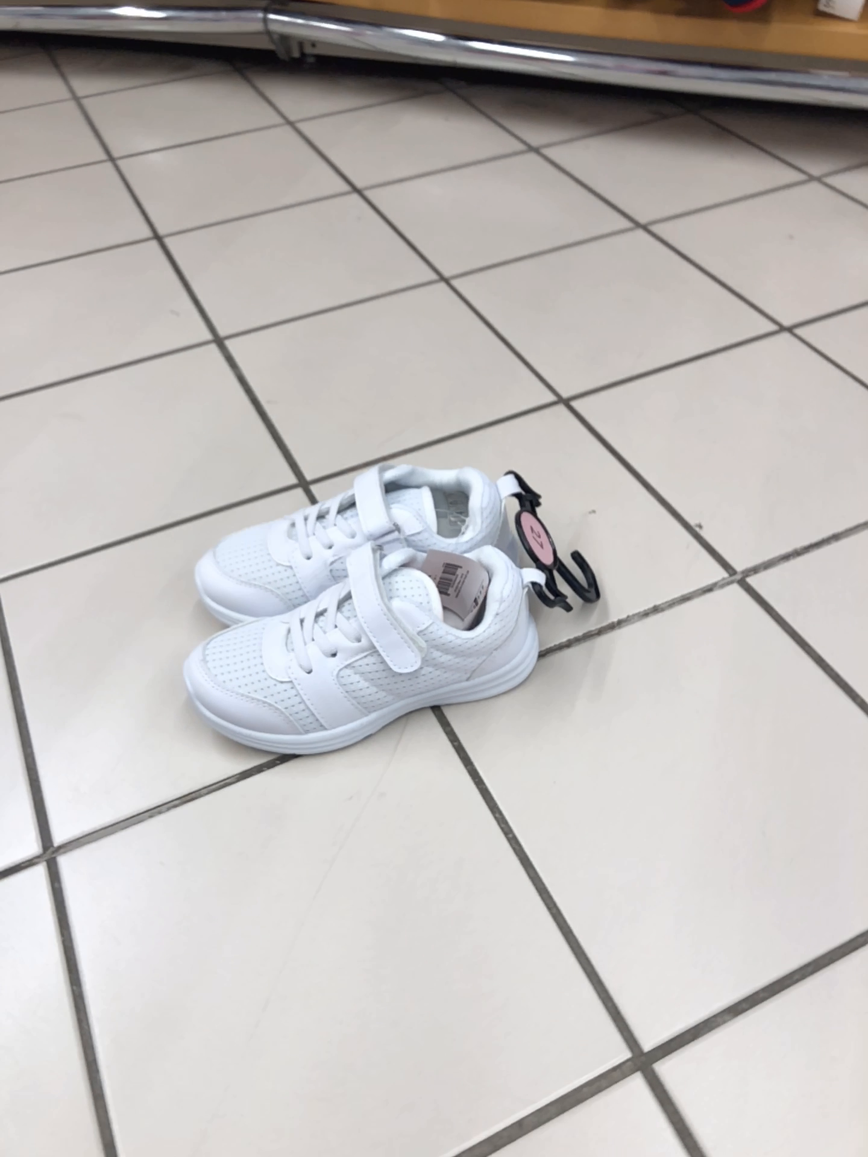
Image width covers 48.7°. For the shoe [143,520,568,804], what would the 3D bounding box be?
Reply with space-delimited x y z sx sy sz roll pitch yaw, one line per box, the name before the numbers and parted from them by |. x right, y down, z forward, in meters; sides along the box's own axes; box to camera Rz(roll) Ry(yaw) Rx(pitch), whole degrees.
shoe | -0.040 0.042 0.501 0.200 0.080 0.080 -10 46 -7

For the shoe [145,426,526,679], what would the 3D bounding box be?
shoe | -0.055 -0.017 0.554 0.200 0.080 0.080 -10 46 -7
